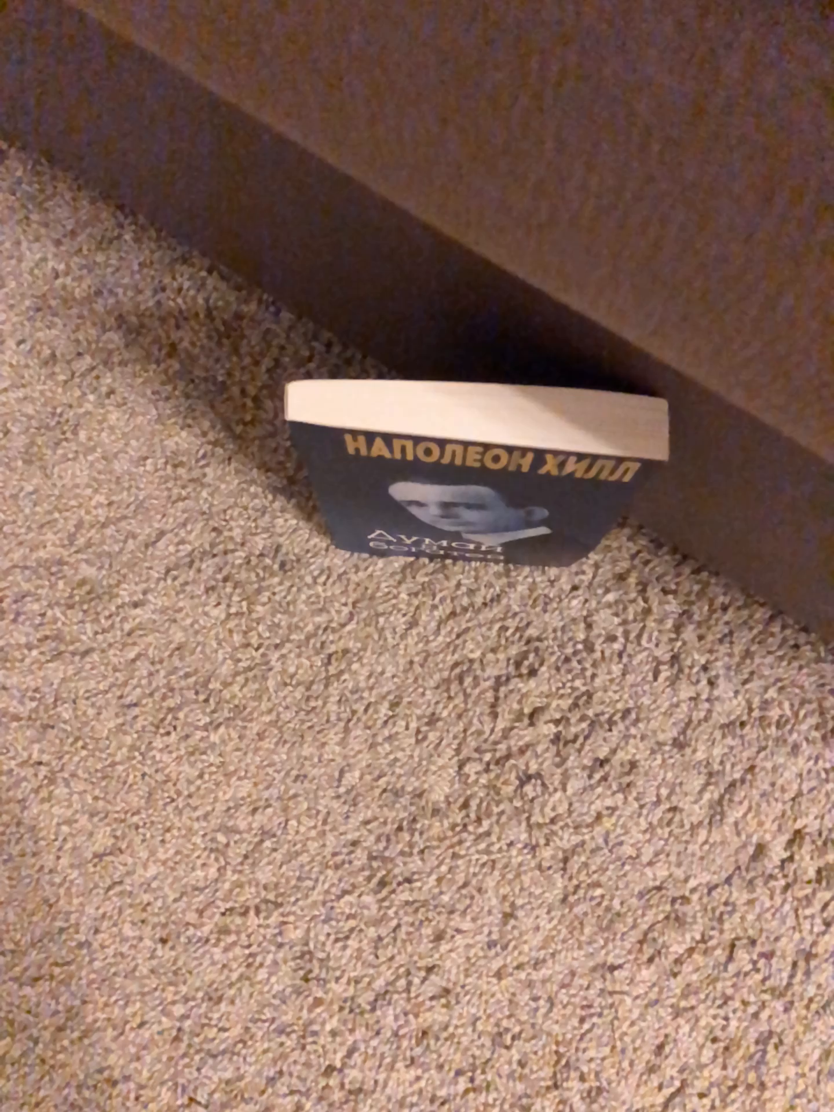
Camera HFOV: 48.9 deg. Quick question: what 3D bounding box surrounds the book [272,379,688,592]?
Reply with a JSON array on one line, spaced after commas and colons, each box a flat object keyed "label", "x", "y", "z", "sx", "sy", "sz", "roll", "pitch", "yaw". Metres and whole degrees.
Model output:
[{"label": "book", "x": 0.018, "y": -0.019, "z": 0.391, "sx": 0.132, "sy": 0.199, "sz": 0.030, "roll": 3, "pitch": 78, "yaw": -1}]
